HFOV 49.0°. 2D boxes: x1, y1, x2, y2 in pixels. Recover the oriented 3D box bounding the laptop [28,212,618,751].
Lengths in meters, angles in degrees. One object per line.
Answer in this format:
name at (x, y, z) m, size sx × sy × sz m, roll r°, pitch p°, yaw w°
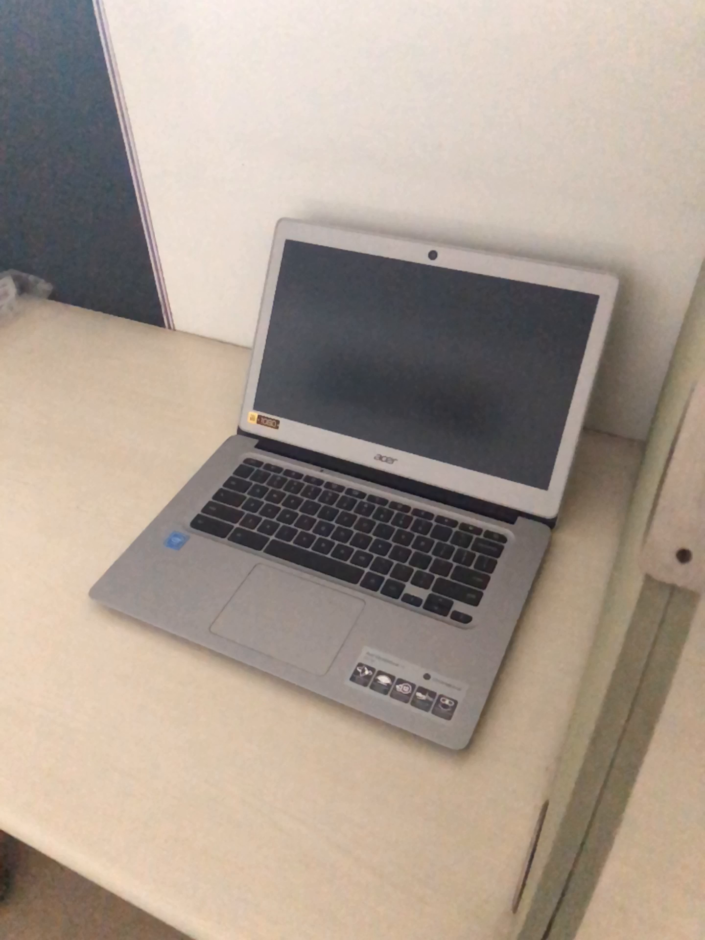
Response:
laptop at (0.004, -0.031, 0.648) m, size 0.323 × 0.168 × 0.367 m, roll 17°, pitch 47°, yaw 20°
